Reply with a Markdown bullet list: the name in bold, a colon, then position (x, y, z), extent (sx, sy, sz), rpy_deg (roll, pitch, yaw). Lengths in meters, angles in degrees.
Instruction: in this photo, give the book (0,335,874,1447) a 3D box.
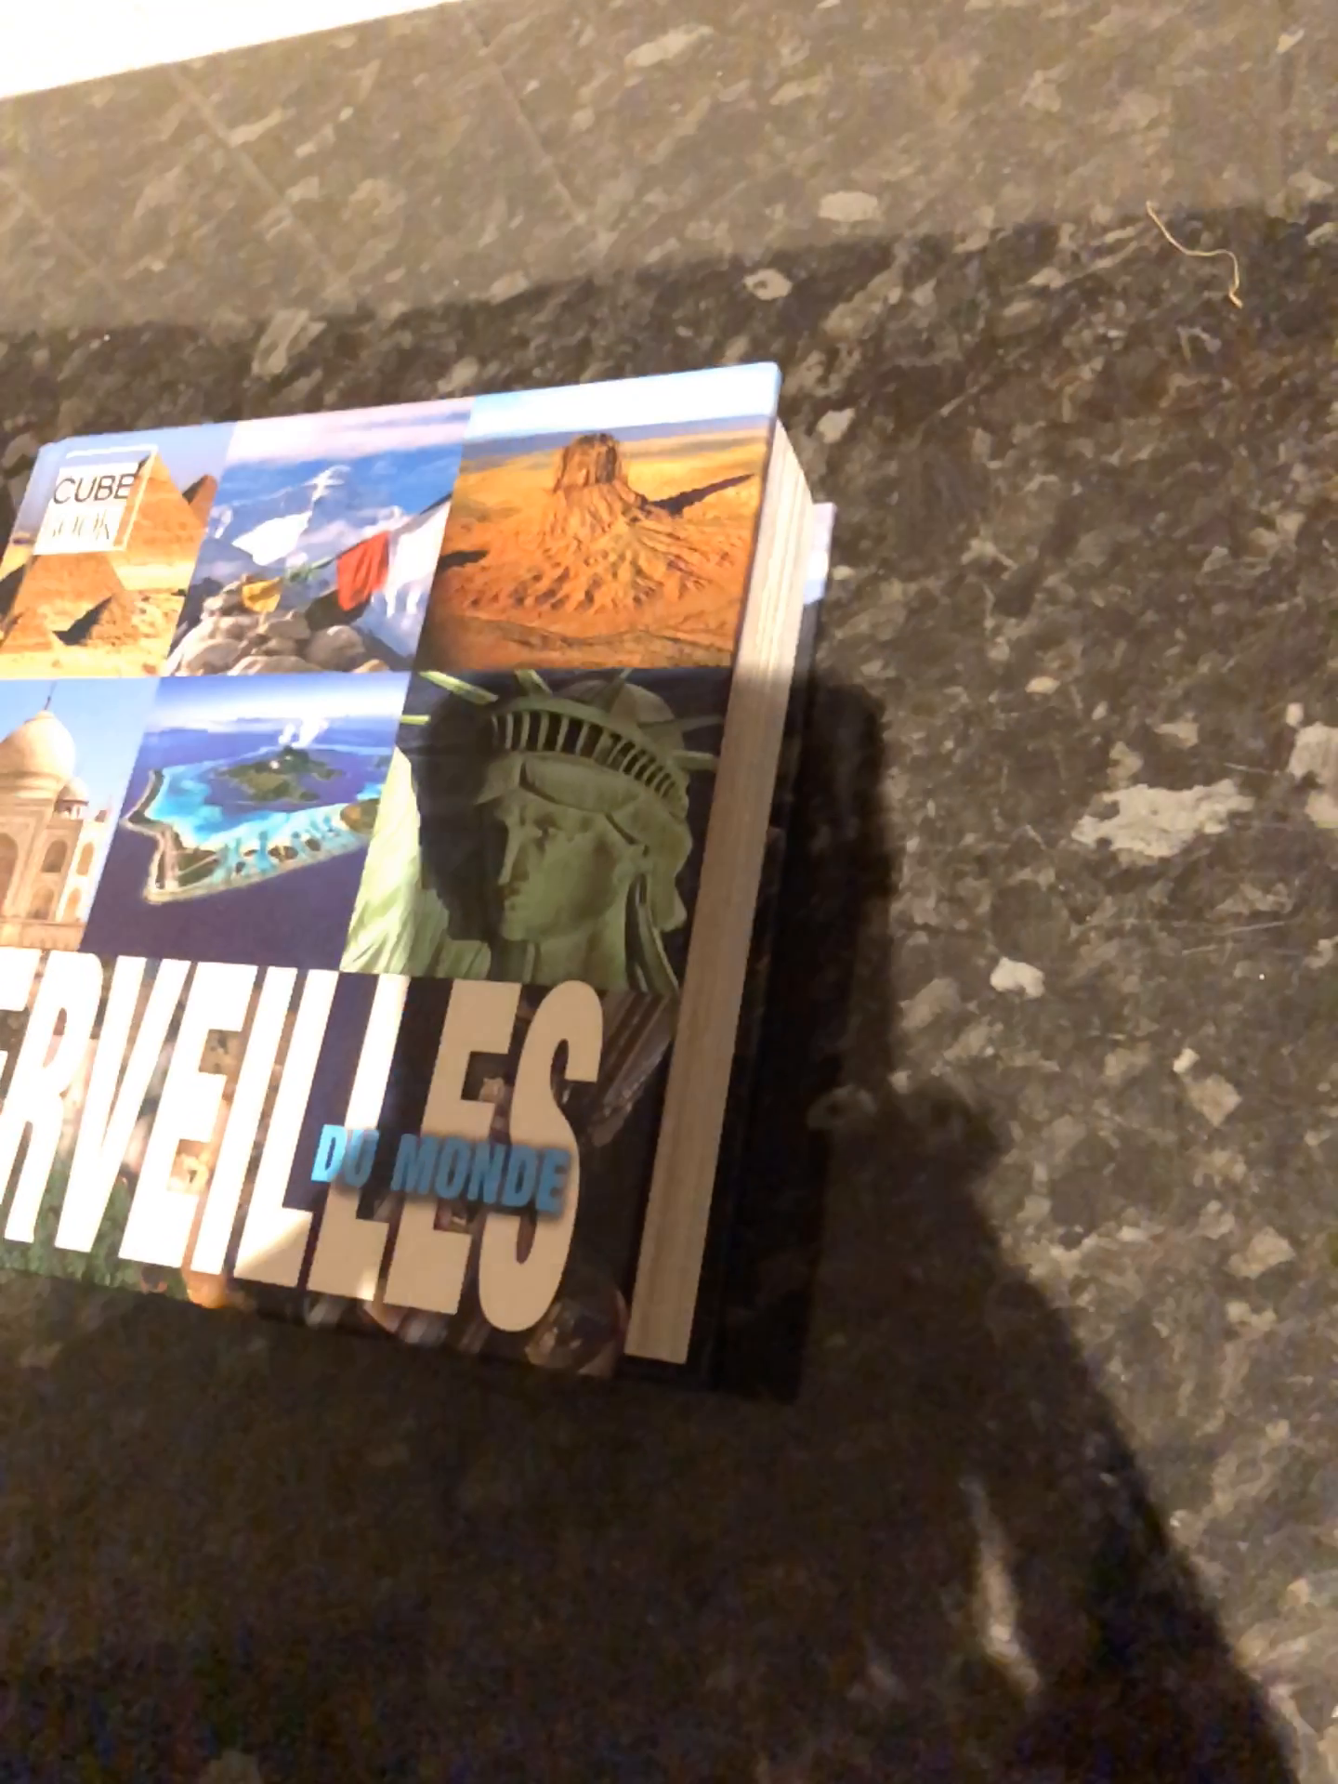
- **book**: position (-0.063, -0.002, 0.262), extent (0.170, 0.060, 0.160), rpy_deg (2, 70, 24)
